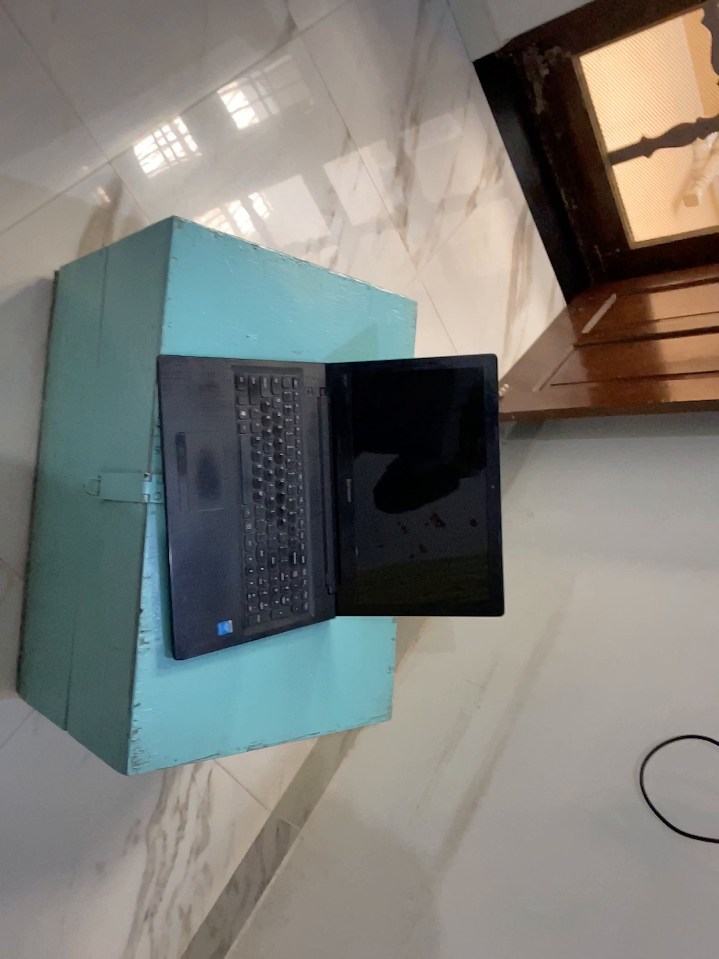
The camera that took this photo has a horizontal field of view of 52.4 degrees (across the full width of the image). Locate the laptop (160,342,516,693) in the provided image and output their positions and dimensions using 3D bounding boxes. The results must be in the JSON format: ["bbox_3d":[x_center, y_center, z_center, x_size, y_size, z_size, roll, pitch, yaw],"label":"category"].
[{"bbox_3d":[-0.008,0.027,0.974,0.425,0.190,0.370,-5,95,-42],"label":"laptop"}]
